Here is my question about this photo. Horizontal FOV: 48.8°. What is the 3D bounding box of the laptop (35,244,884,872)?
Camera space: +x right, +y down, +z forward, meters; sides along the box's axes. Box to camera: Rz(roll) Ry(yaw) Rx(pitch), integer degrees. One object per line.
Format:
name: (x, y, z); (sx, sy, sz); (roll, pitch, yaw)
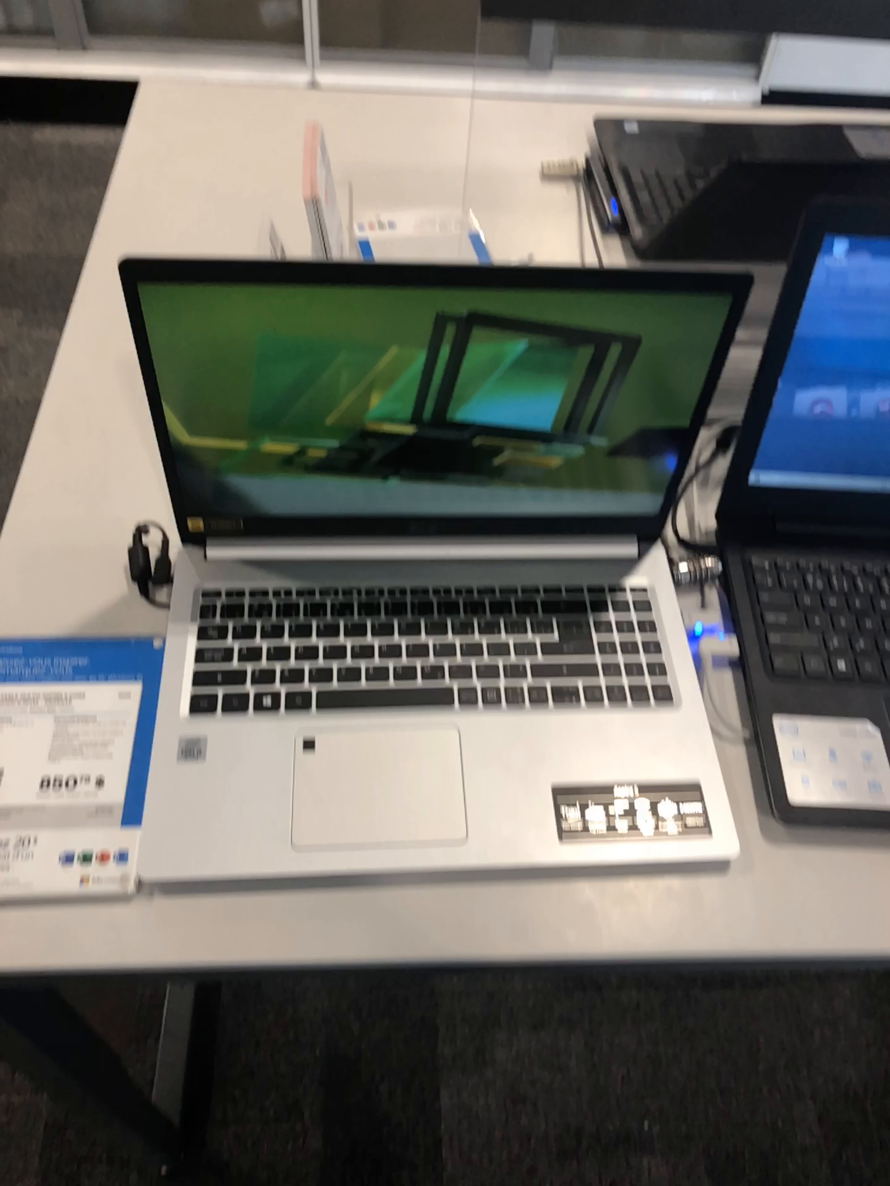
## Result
laptop: (-0.003, -0.018, 0.569); (0.349, 0.229, 0.267); (-1, 54, -4)
